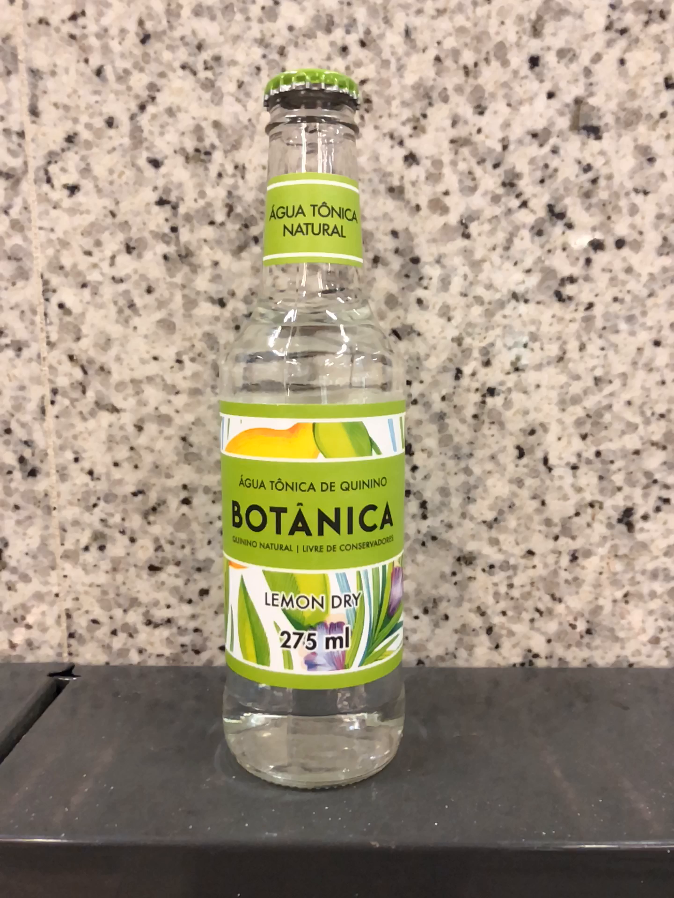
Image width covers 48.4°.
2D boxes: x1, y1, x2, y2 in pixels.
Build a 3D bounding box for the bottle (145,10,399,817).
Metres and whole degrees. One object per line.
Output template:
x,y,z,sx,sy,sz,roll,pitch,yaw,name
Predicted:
-0.017,-0.006,0.225,0.060,0.209,0.060,0,10,0,bottle
